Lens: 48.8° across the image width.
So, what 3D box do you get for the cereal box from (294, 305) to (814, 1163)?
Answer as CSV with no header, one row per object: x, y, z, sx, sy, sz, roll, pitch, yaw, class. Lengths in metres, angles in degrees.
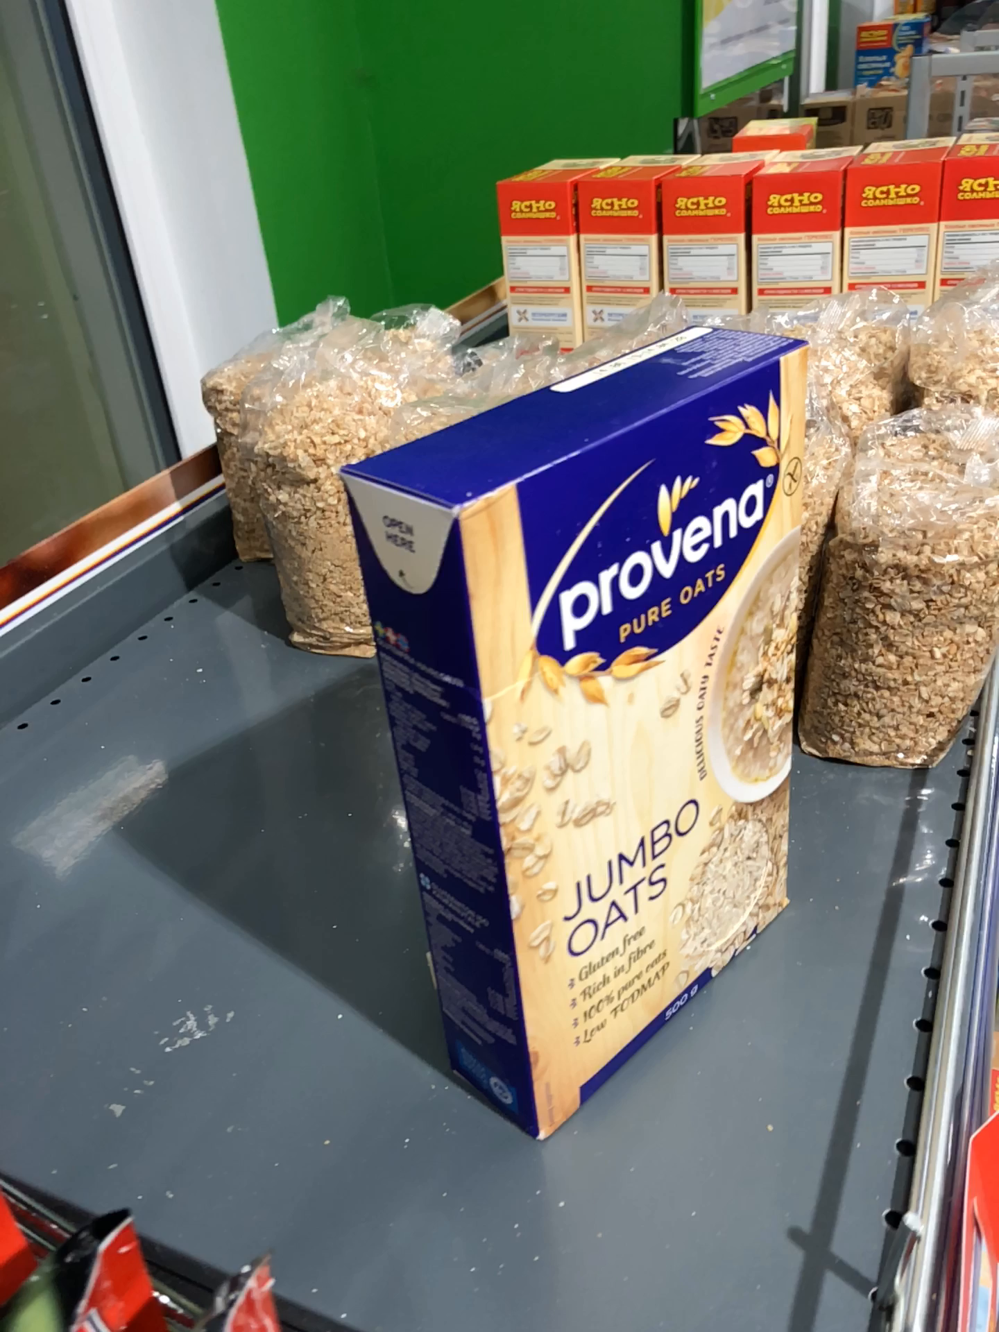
0.032,0.021,0.352,0.150,0.229,0.050,-30,37,-34,cereal box
